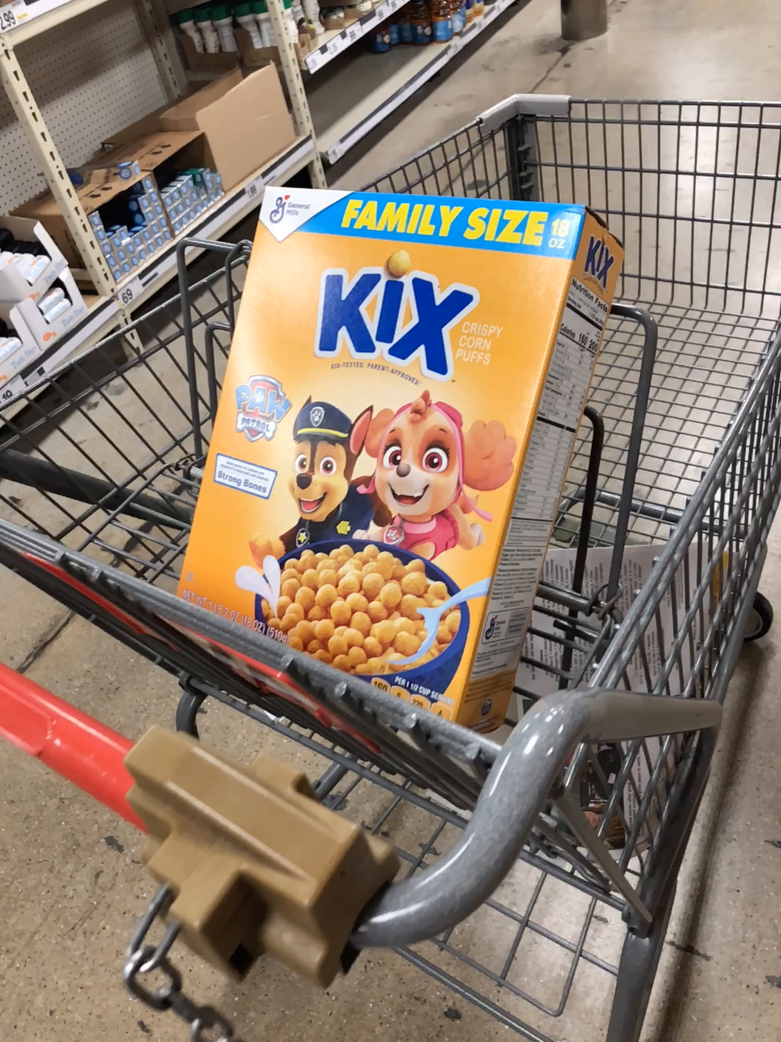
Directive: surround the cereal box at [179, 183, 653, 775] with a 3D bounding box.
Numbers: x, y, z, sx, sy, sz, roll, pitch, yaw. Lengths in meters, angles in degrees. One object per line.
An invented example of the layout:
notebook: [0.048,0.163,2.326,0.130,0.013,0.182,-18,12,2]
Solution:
cereal box: [0.001,-0.043,0.588,0.251,0.330,0.090,19,9,36]
